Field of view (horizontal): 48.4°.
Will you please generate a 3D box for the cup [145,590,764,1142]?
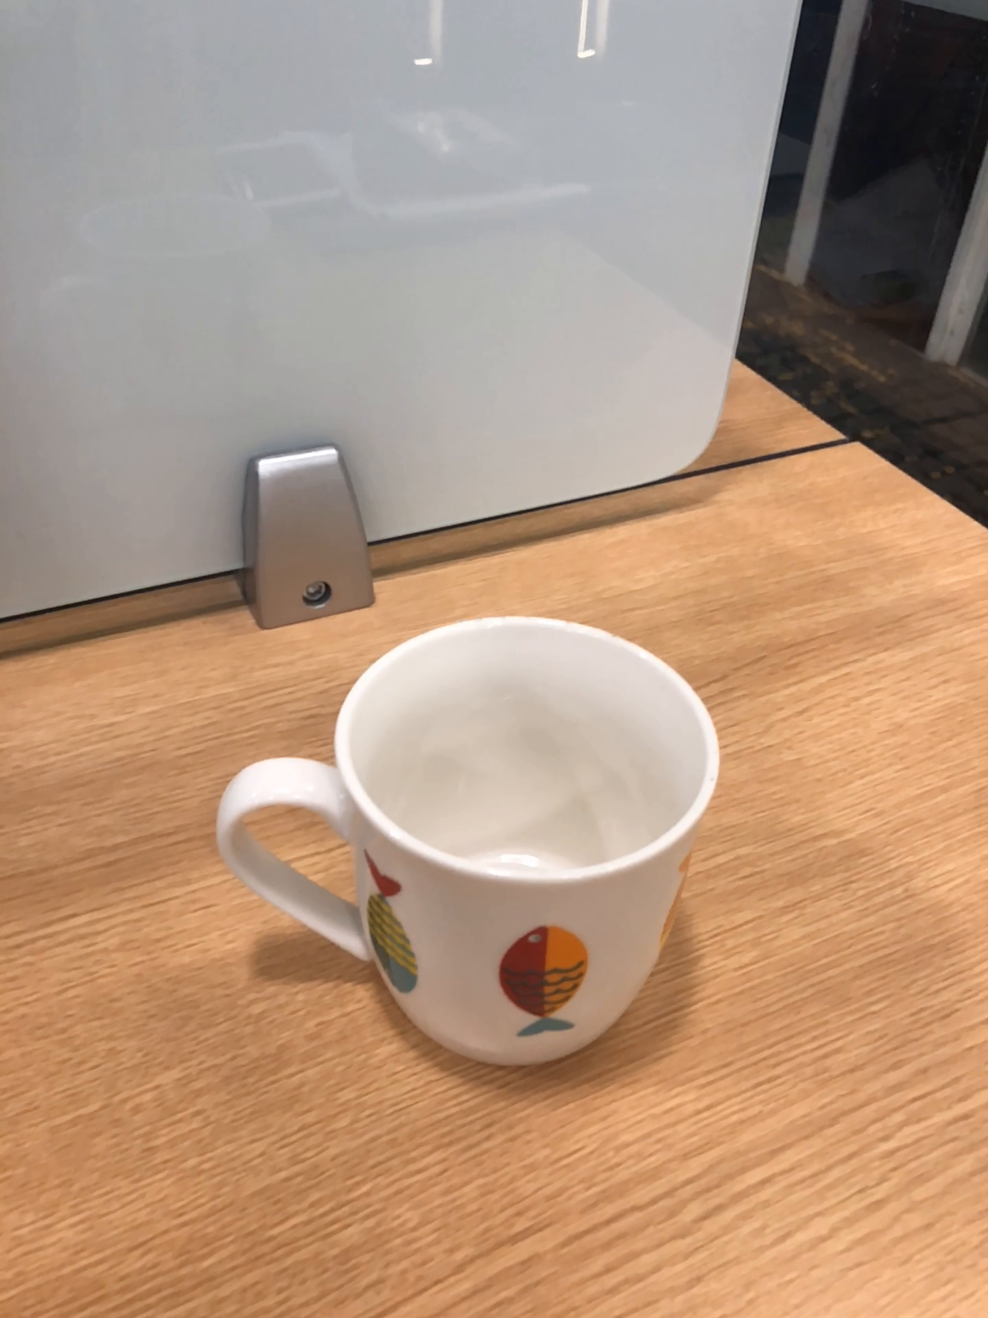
[{"bbox_3d":[-0.012,0.045,0.254,0.110,0.090,0.080,-2,39,-7],"label":"cup"}]
